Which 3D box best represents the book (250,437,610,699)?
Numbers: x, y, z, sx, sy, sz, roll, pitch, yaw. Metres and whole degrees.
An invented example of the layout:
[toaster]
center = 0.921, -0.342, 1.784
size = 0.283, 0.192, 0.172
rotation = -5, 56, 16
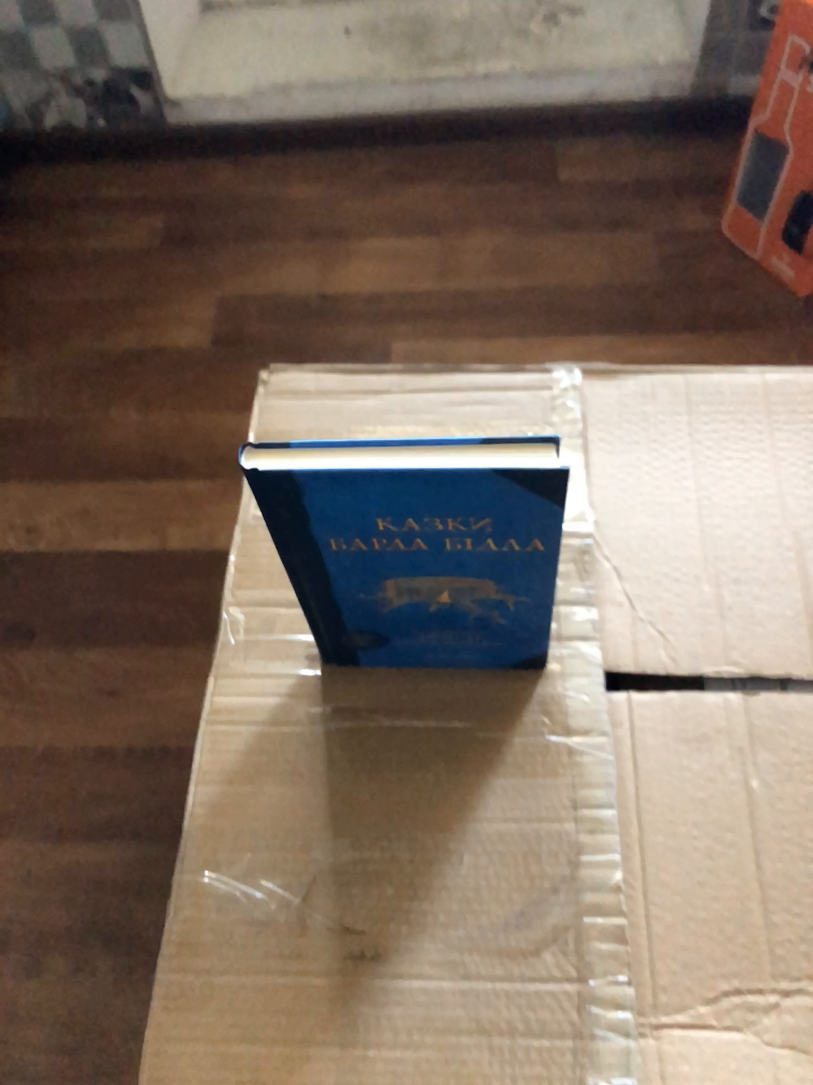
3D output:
[book]
center = 0.015, 0.023, 0.450
size = 0.144, 0.199, 0.030
rotation = 1, 57, 4
